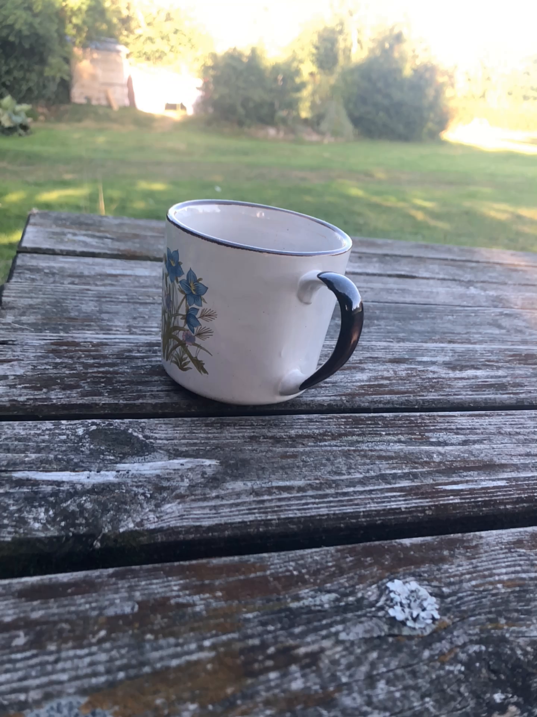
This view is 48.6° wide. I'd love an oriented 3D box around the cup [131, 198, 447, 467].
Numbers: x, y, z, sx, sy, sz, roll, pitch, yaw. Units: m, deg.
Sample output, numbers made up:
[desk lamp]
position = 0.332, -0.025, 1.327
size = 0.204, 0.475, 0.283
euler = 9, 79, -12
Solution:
[cup]
position = 0.003, -0.021, 0.276
size = 0.087, 0.078, 0.108
euler = -9, 29, -37
